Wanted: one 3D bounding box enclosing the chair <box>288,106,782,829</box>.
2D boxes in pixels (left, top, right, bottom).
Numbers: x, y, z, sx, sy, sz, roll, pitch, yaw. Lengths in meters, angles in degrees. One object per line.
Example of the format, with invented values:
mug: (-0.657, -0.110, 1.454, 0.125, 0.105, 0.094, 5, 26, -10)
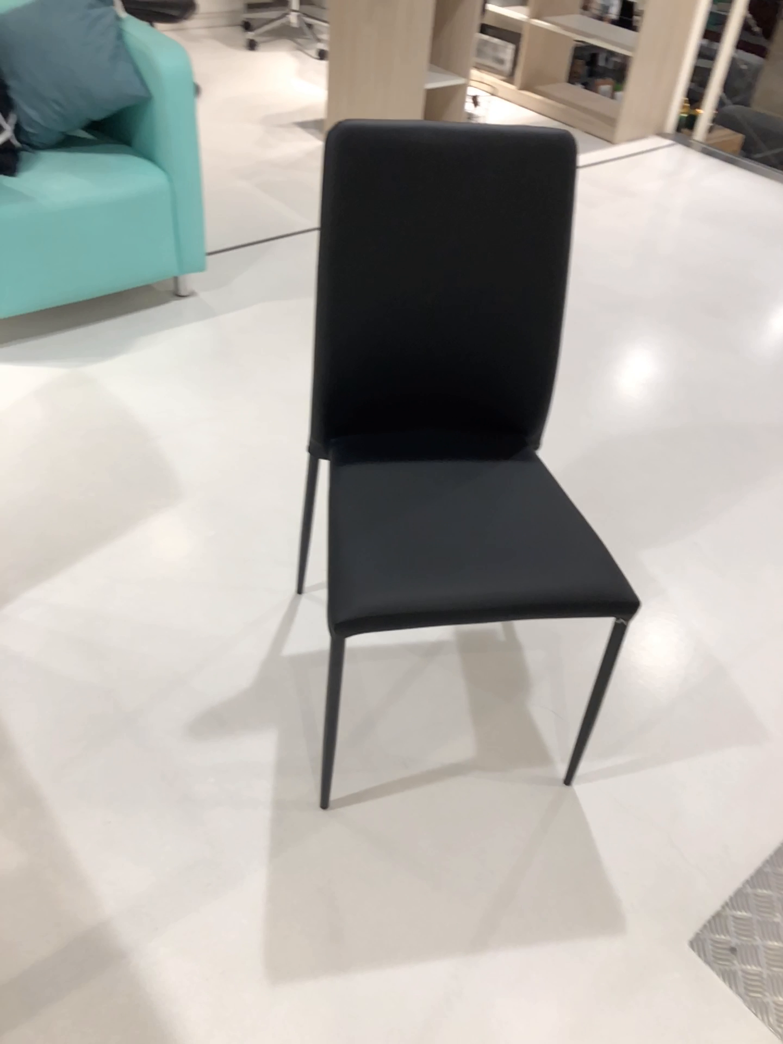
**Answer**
chair: (0.096, -0.066, 1.294, 0.450, 0.863, 0.604, -3, 42, -11)
